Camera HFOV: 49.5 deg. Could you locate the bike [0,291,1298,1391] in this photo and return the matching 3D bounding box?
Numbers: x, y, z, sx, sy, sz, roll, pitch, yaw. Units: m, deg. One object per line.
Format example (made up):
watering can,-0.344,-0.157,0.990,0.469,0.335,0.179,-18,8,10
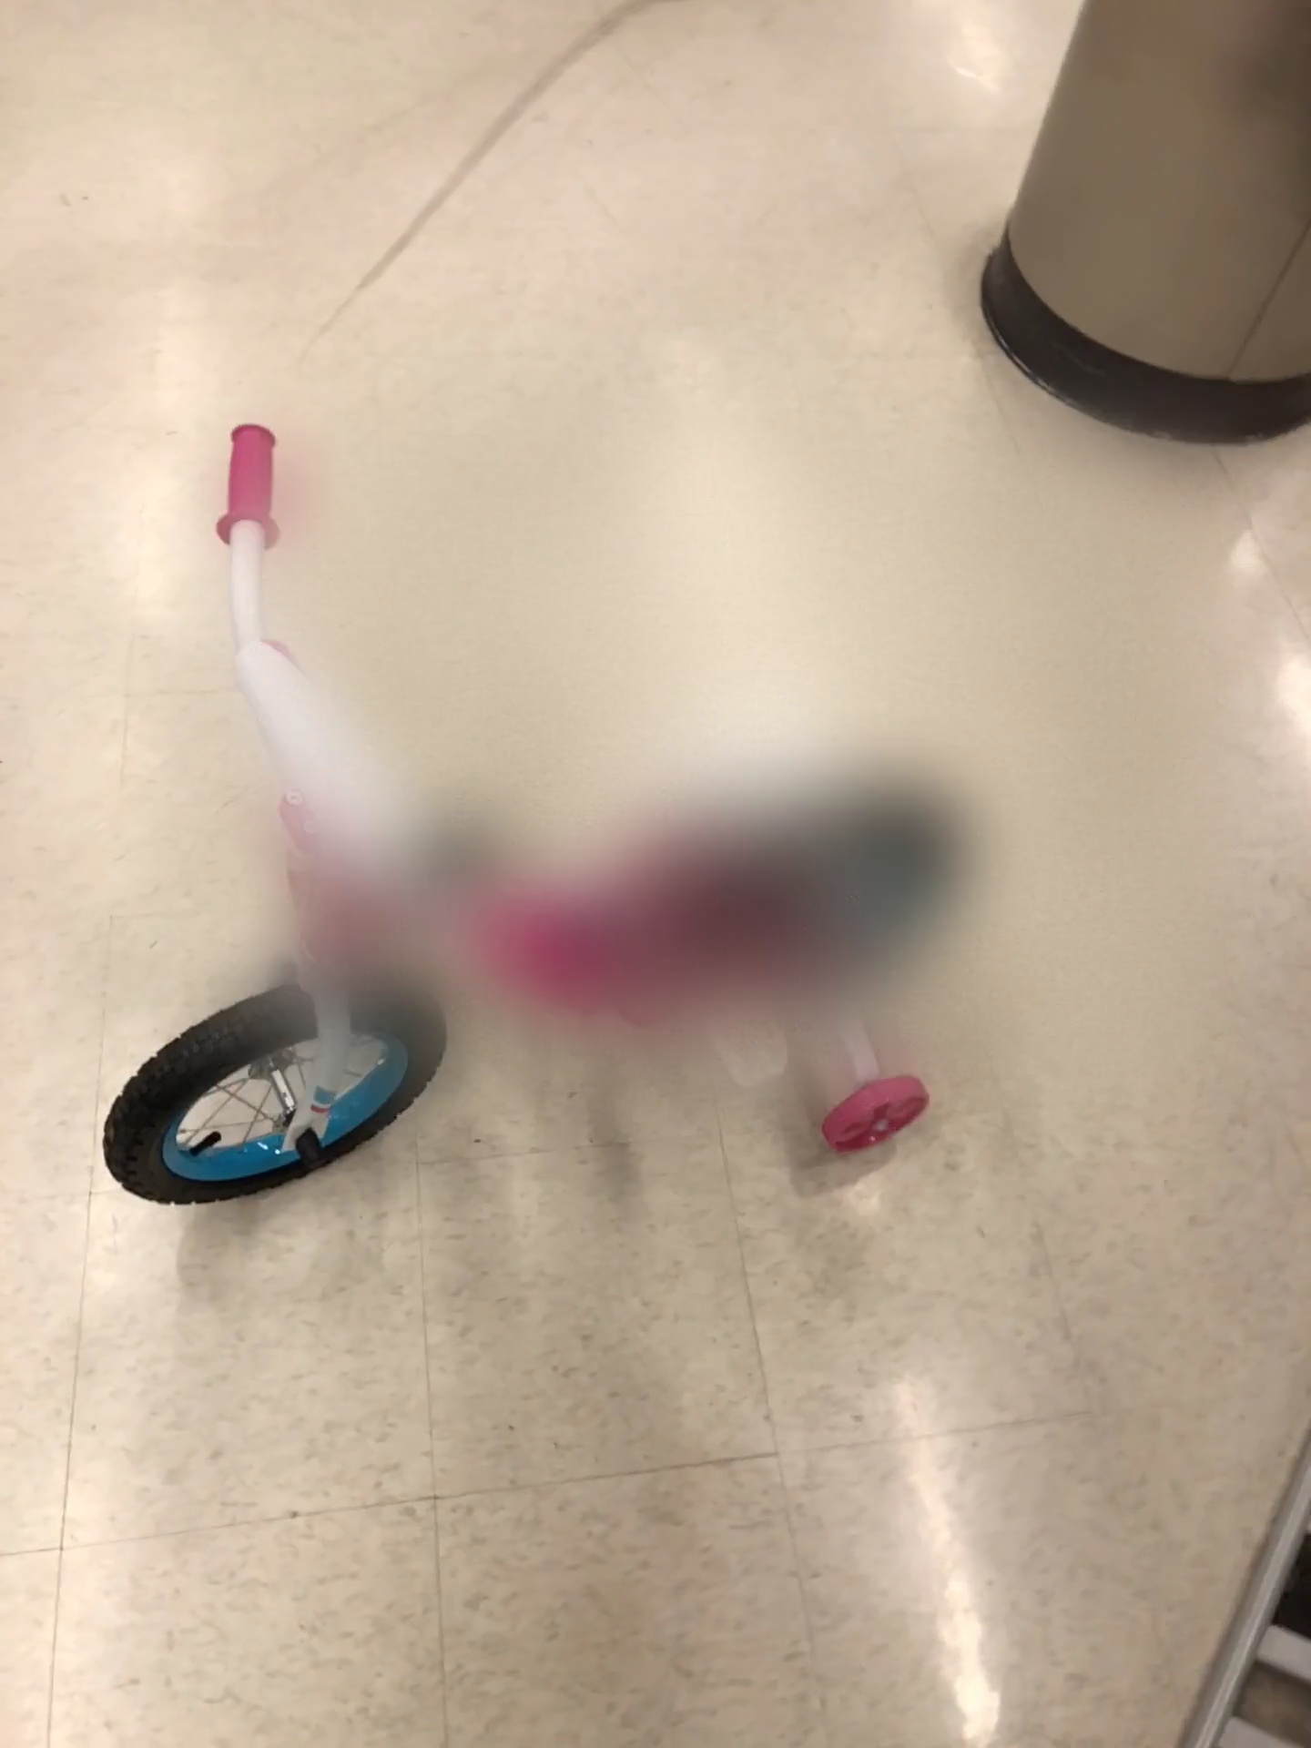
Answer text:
bike,-0.073,-0.024,1.164,0.815,0.625,0.462,-17,61,-21
